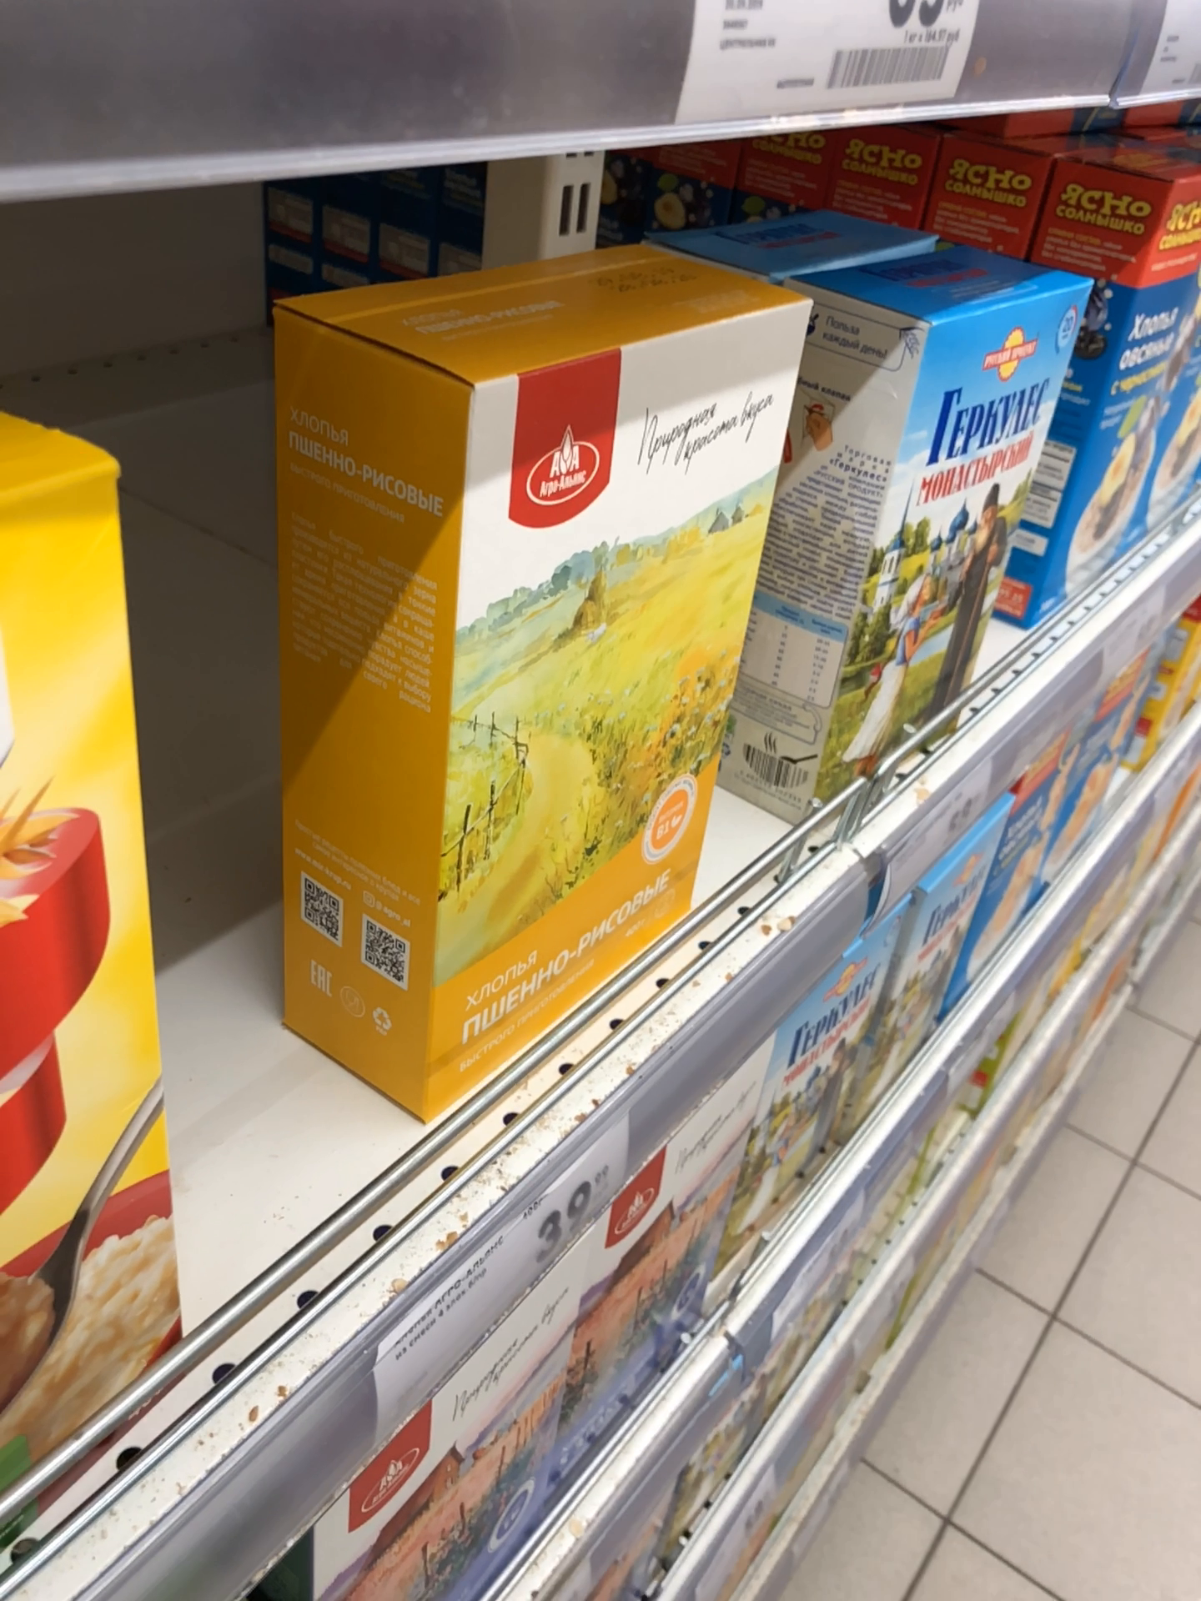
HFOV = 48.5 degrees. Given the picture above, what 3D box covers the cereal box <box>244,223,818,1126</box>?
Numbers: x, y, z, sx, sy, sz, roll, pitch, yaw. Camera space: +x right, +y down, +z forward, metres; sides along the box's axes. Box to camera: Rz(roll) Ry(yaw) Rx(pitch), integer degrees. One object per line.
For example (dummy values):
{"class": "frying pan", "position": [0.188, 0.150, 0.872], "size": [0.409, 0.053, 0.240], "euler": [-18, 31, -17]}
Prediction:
{"class": "cereal box", "position": [-0.020, -0.035, 0.354], "size": [0.060, 0.199, 0.131], "euler": [27, 38, 26]}
